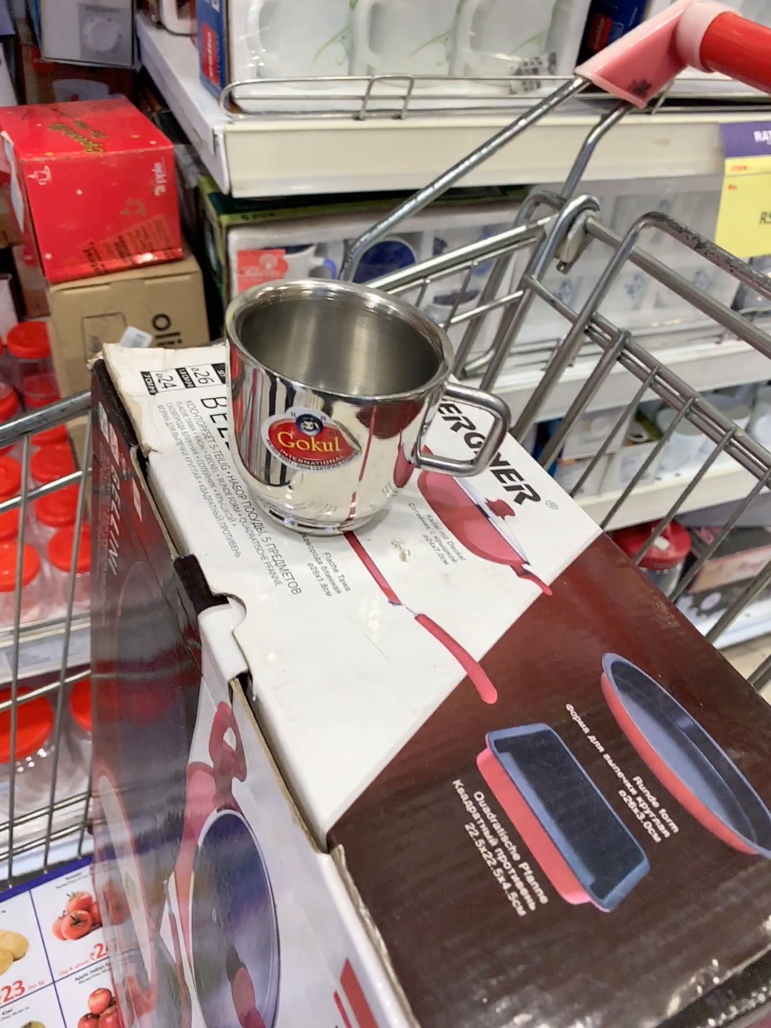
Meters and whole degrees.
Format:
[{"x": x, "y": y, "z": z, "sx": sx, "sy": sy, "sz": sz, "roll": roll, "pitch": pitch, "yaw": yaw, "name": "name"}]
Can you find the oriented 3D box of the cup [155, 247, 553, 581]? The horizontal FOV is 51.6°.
[{"x": -0.005, "y": -0.029, "z": 0.217, "sx": 0.090, "sy": 0.050, "sz": 0.060, "roll": 11, "pitch": 44, "yaw": 3, "name": "cup"}]
